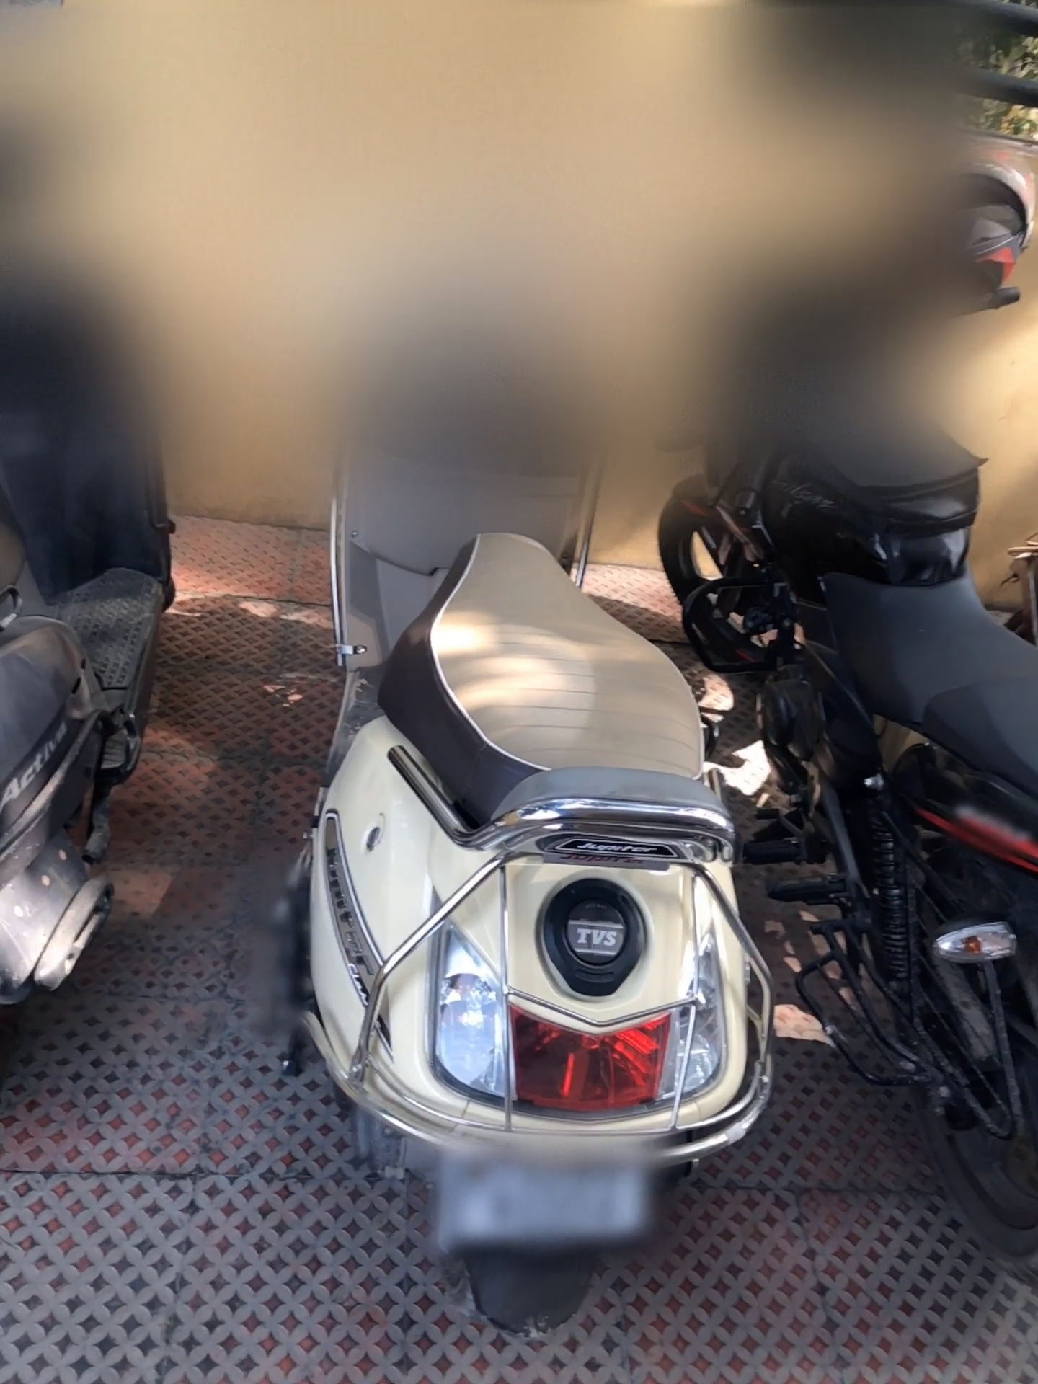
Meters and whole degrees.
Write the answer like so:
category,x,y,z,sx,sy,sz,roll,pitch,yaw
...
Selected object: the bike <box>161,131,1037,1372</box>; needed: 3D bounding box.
category,x,y,z,sx,sy,sz,roll,pitch,yaw
bike,-0.176,-0.075,1.725,0.645,0.998,1.635,1,37,-15
